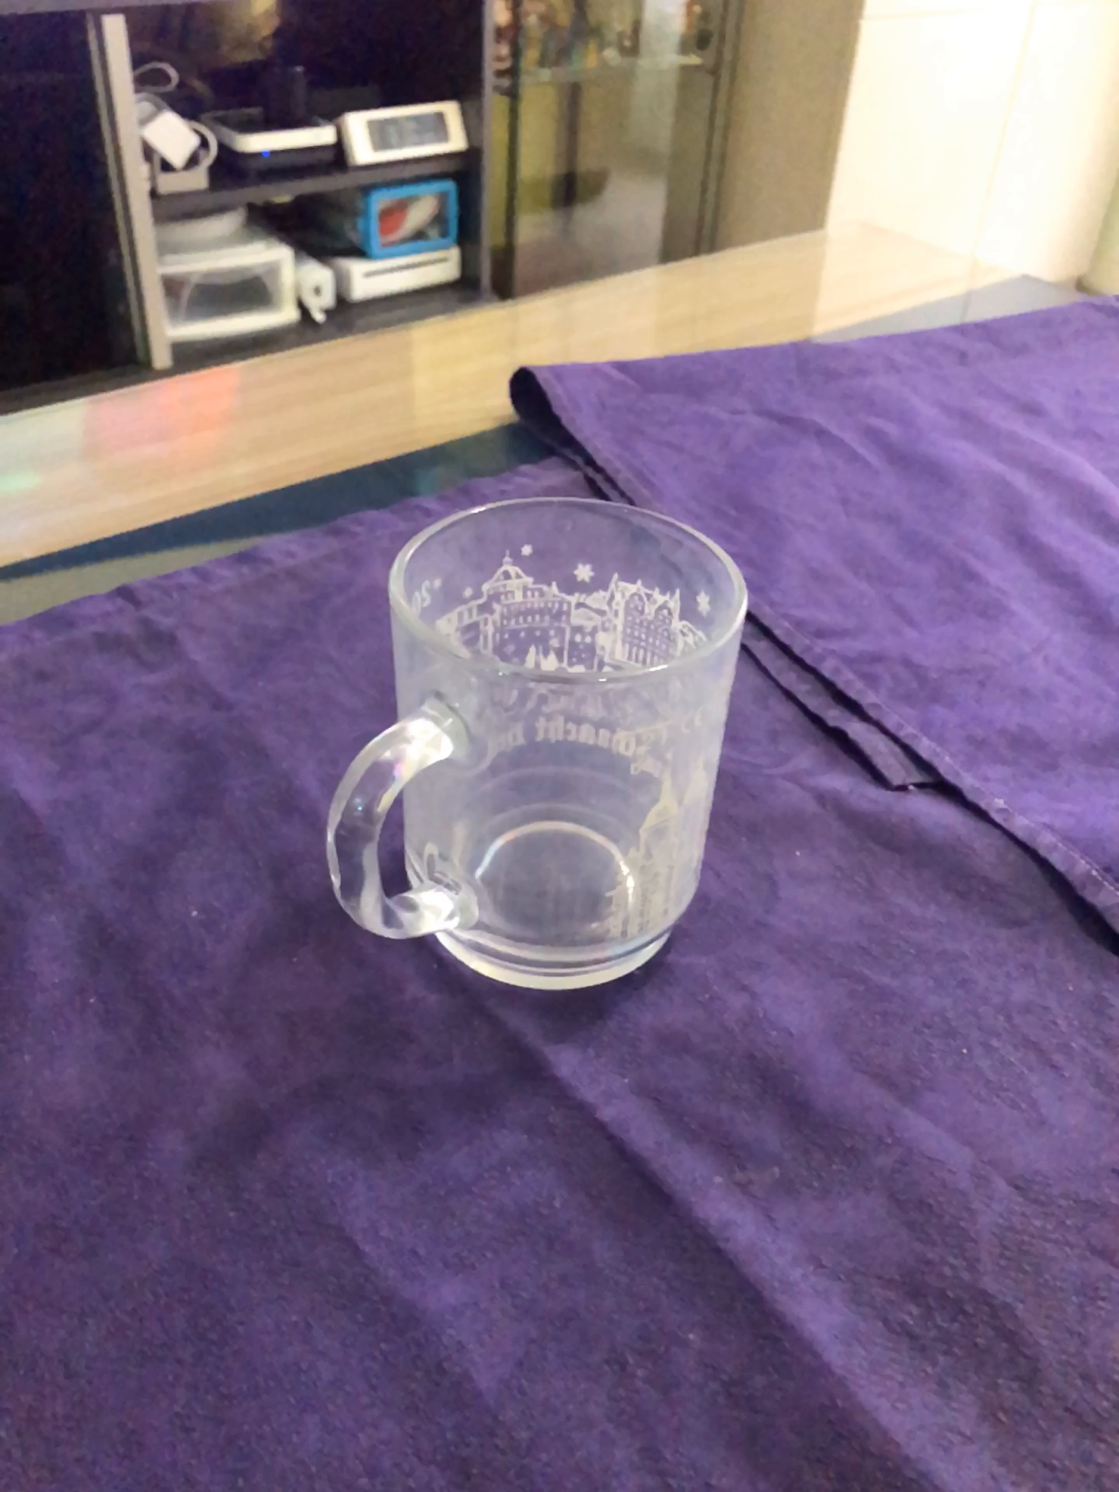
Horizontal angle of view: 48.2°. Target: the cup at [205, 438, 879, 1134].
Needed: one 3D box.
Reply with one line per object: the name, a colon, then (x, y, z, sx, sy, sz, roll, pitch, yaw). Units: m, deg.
cup: (-0.001, 0.001, 0.247, 0.070, 0.080, 0.100, 31, 45, 33)
